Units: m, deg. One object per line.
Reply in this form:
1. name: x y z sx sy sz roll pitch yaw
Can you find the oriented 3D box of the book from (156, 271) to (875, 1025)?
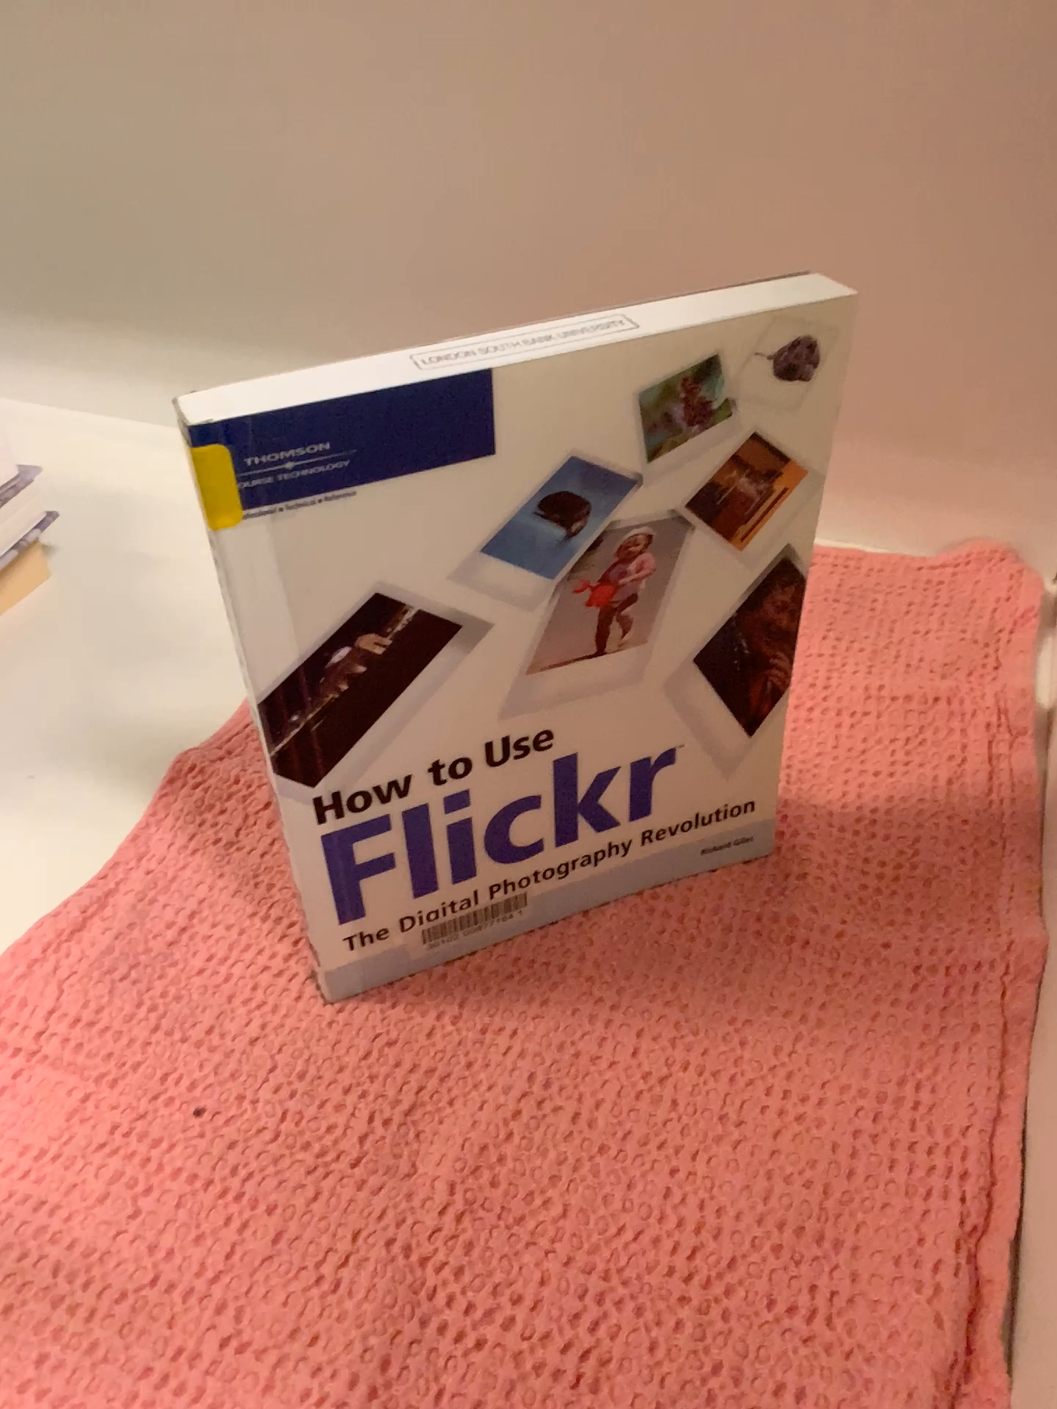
1. book: 0.005 -0.006 0.353 0.191 0.228 0.025 -16 42 -17
